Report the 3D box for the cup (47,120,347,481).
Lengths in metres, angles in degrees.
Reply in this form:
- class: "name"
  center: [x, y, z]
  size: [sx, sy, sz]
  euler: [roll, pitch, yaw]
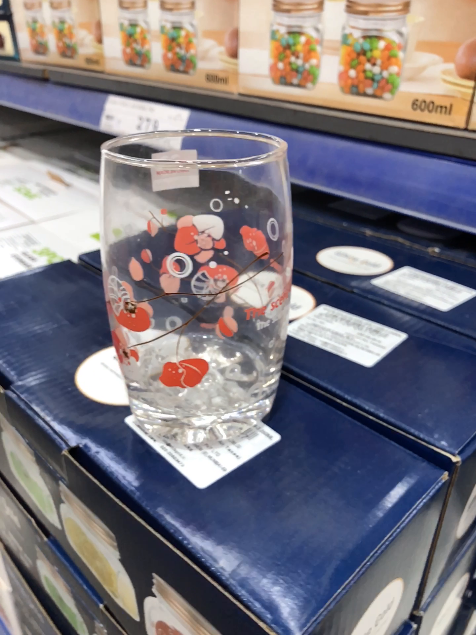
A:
- class: "cup"
  center: [-0.012, -0.012, 0.201]
  size: [0.070, 0.100, 0.070]
  euler: [1, 30, 0]
